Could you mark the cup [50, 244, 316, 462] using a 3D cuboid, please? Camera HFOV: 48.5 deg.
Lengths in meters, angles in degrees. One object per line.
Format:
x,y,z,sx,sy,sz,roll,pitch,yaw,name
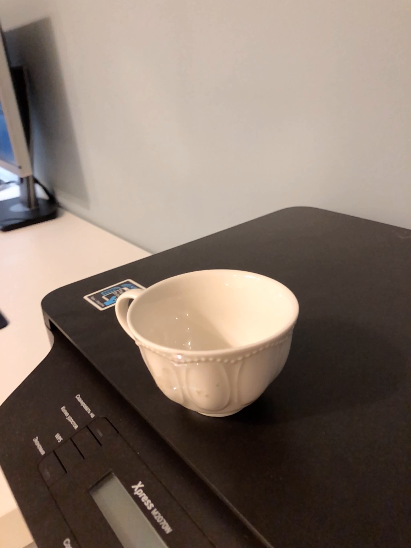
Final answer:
-0.008,0.027,0.216,0.094,0.044,0.076,13,31,30,cup
